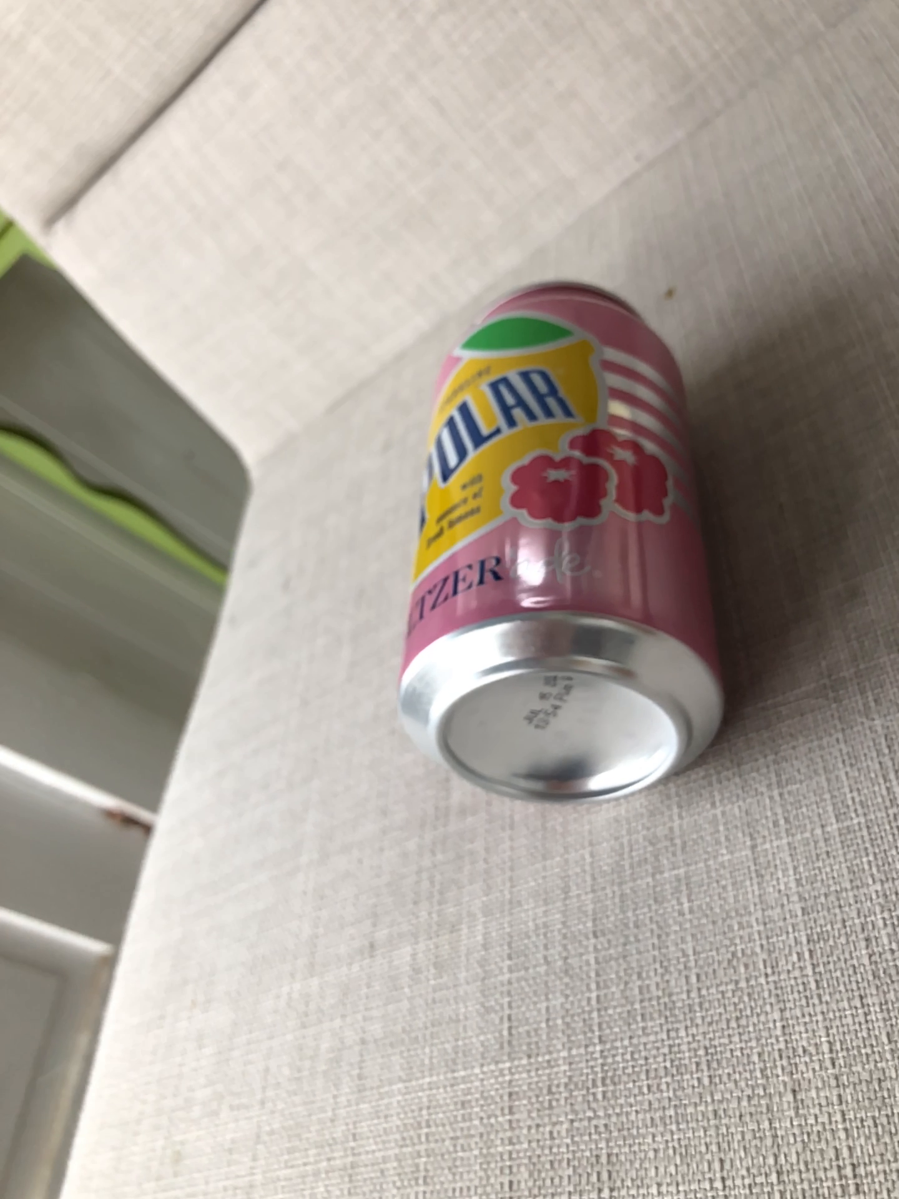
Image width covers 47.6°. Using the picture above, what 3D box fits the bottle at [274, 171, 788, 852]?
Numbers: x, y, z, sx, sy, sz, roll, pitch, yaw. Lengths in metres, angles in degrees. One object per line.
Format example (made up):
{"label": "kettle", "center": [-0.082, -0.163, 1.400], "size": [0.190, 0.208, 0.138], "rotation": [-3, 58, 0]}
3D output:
{"label": "bottle", "center": [0.018, -0.021, 0.230], "size": [0.070, 0.065, 0.123], "rotation": [-28, 40, 32]}
